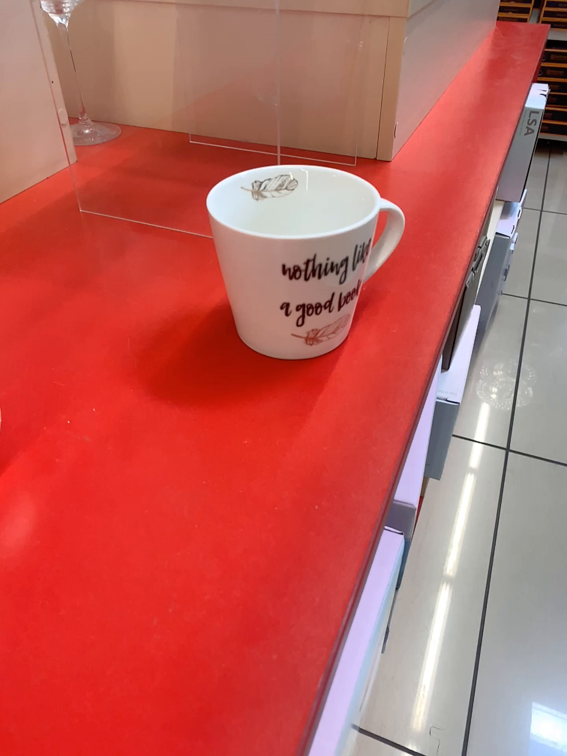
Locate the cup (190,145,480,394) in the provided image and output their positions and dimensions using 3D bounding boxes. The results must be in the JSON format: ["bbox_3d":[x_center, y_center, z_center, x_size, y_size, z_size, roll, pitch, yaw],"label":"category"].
[{"bbox_3d":[0.026,-0.069,0.344,0.130,0.090,0.090,-17,42,-18],"label":"cup"}]
